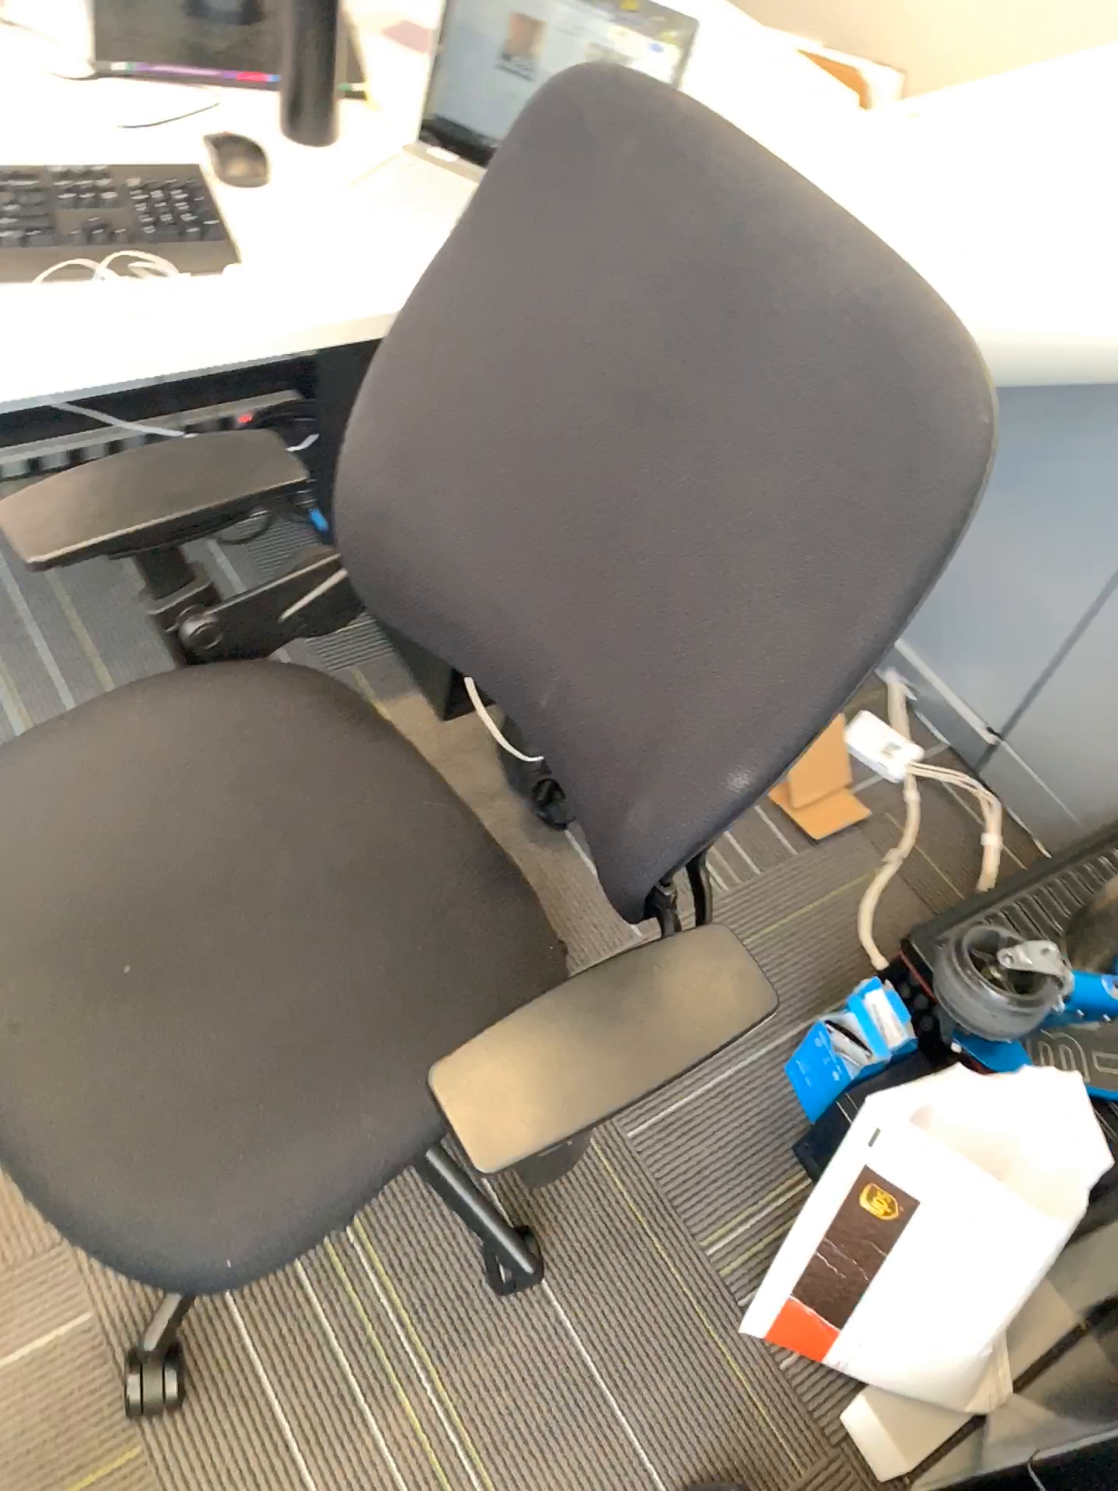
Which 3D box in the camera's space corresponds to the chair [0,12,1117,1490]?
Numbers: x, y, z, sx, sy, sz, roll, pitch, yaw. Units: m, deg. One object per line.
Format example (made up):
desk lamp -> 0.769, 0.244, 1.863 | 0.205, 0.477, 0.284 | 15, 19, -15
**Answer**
chair -> -0.166, 0.177, 1.105 | 0.631, 1.364, 0.582 | -21, 59, -27
